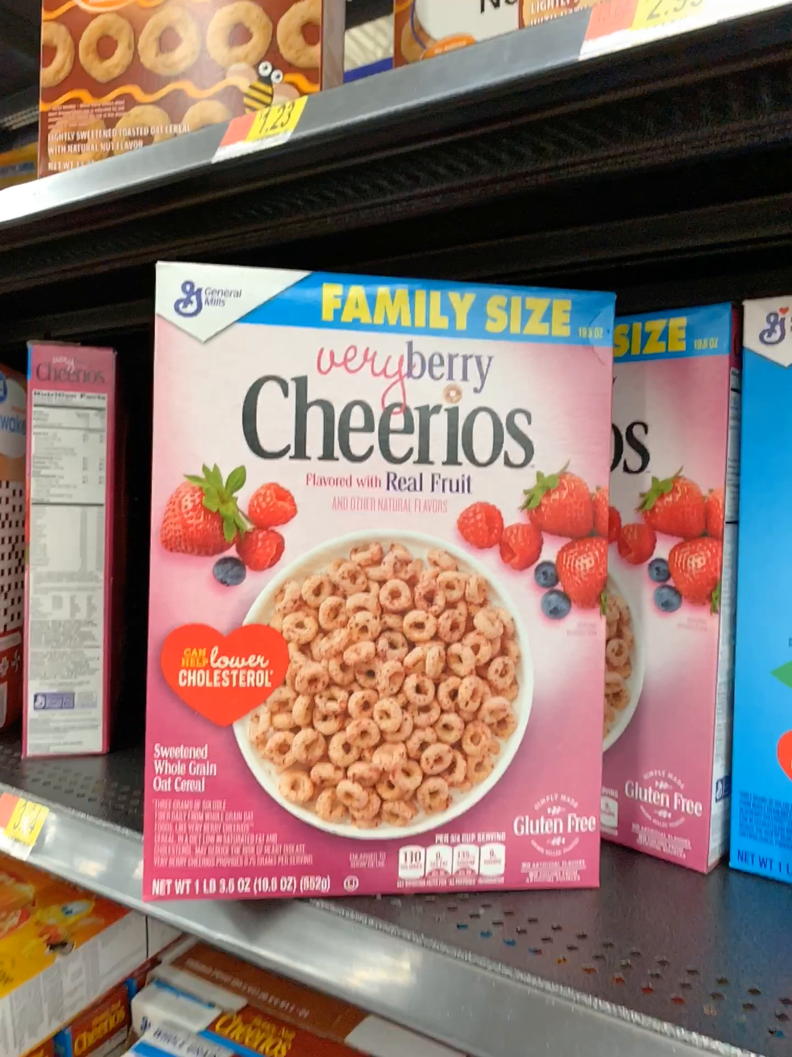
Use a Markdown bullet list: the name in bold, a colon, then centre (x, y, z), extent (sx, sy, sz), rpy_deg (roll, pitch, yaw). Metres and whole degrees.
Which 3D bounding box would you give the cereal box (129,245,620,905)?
- **cereal box**: centre (-0.010, 0.025, 0.443), extent (0.240, 0.320, 0.060), rpy_deg (2, 0, -7)
